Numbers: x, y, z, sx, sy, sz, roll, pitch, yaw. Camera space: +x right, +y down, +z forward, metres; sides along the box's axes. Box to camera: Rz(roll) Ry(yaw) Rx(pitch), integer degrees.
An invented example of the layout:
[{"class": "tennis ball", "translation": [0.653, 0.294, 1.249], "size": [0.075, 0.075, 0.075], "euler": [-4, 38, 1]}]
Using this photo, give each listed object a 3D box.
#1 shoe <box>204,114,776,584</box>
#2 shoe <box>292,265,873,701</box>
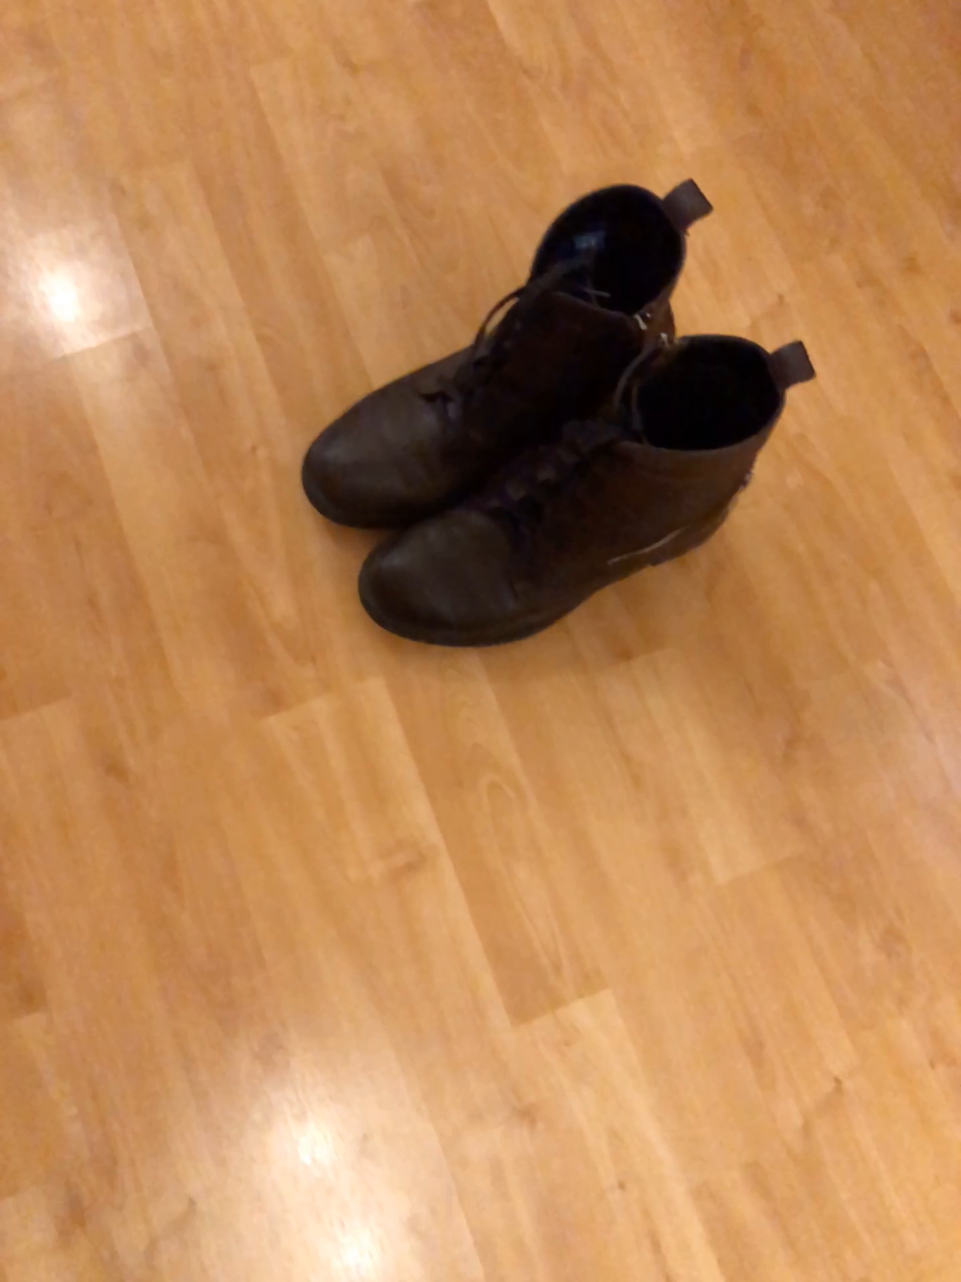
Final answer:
[{"class": "shoe", "translation": [0.003, -0.159, 0.624], "size": [0.270, 0.180, 0.110], "euler": [-23, 78, -8]}, {"class": "shoe", "translation": [0.049, -0.080, 0.614], "size": [0.270, 0.180, 0.110], "euler": [-20, 78, -7]}]
